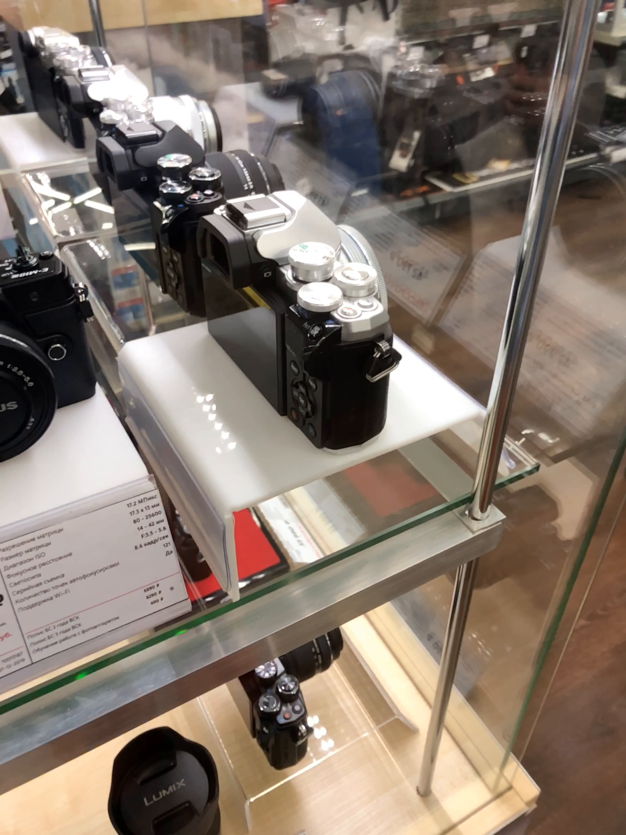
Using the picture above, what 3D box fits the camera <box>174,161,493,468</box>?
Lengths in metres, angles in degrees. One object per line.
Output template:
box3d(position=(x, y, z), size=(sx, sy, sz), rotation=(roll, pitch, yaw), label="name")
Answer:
box3d(position=(0.002, -0.052, 0.298), size=(0.073, 0.067, 0.123), rotation=(-21, 43, -24), label="camera")

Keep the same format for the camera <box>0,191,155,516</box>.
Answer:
box3d(position=(-0.131, -0.031, 0.267), size=(0.109, 0.068, 0.079), rotation=(-20, 43, -22), label="camera")
